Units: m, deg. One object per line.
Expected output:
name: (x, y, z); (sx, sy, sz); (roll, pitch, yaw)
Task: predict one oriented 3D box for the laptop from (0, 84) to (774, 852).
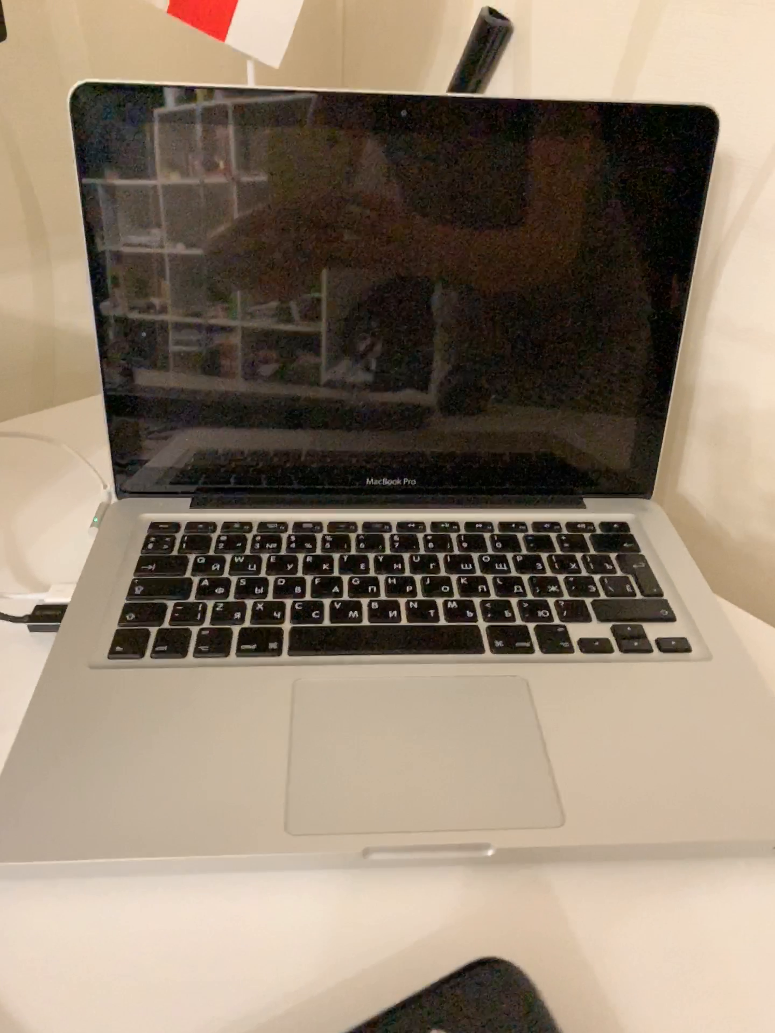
laptop: (0.009, -0.044, 0.327); (0.300, 0.196, 0.251); (-1, 35, -4)
